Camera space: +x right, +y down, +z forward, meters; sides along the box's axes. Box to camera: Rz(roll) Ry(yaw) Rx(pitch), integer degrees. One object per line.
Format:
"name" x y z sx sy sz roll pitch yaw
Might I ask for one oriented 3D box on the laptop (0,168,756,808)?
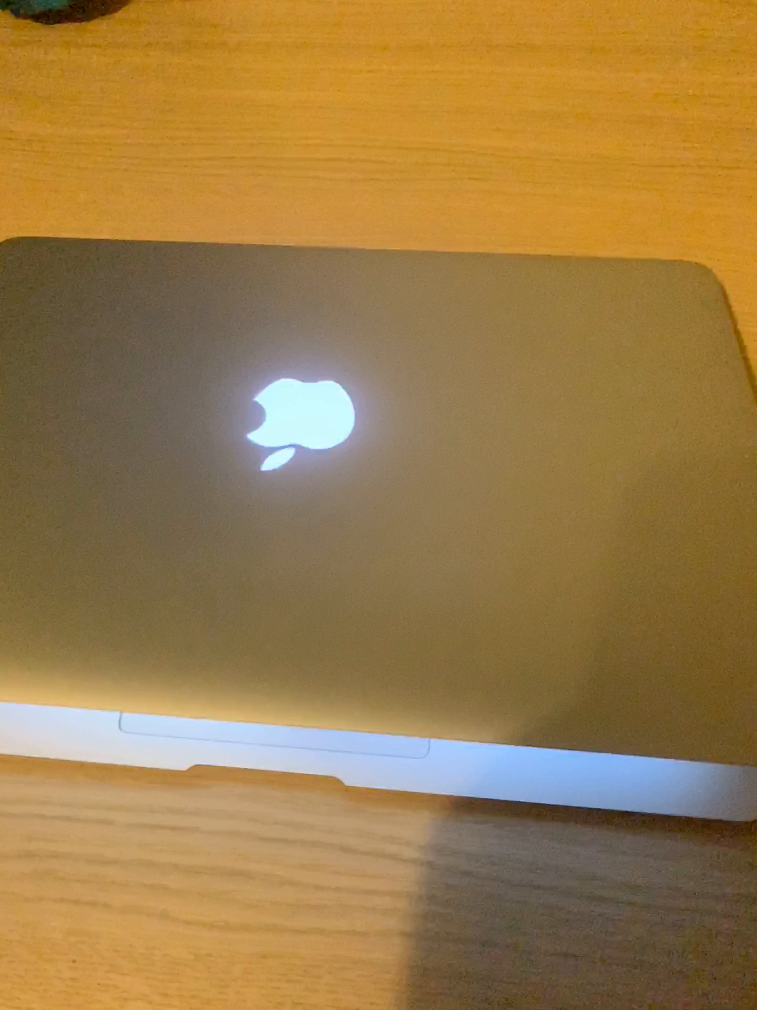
"laptop" -0.027 -0.025 0.281 0.320 0.048 0.218 3 61 6
